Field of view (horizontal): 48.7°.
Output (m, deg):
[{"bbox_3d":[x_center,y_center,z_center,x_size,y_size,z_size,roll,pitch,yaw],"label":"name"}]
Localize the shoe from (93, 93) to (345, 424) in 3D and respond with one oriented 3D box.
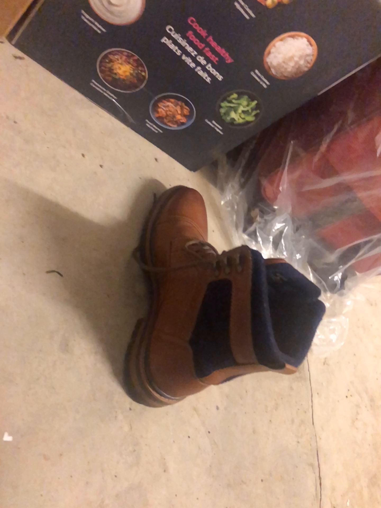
[{"bbox_3d":[0.032,0.013,0.479,0.132,0.201,0.303,31,50,-36],"label":"shoe"}]
